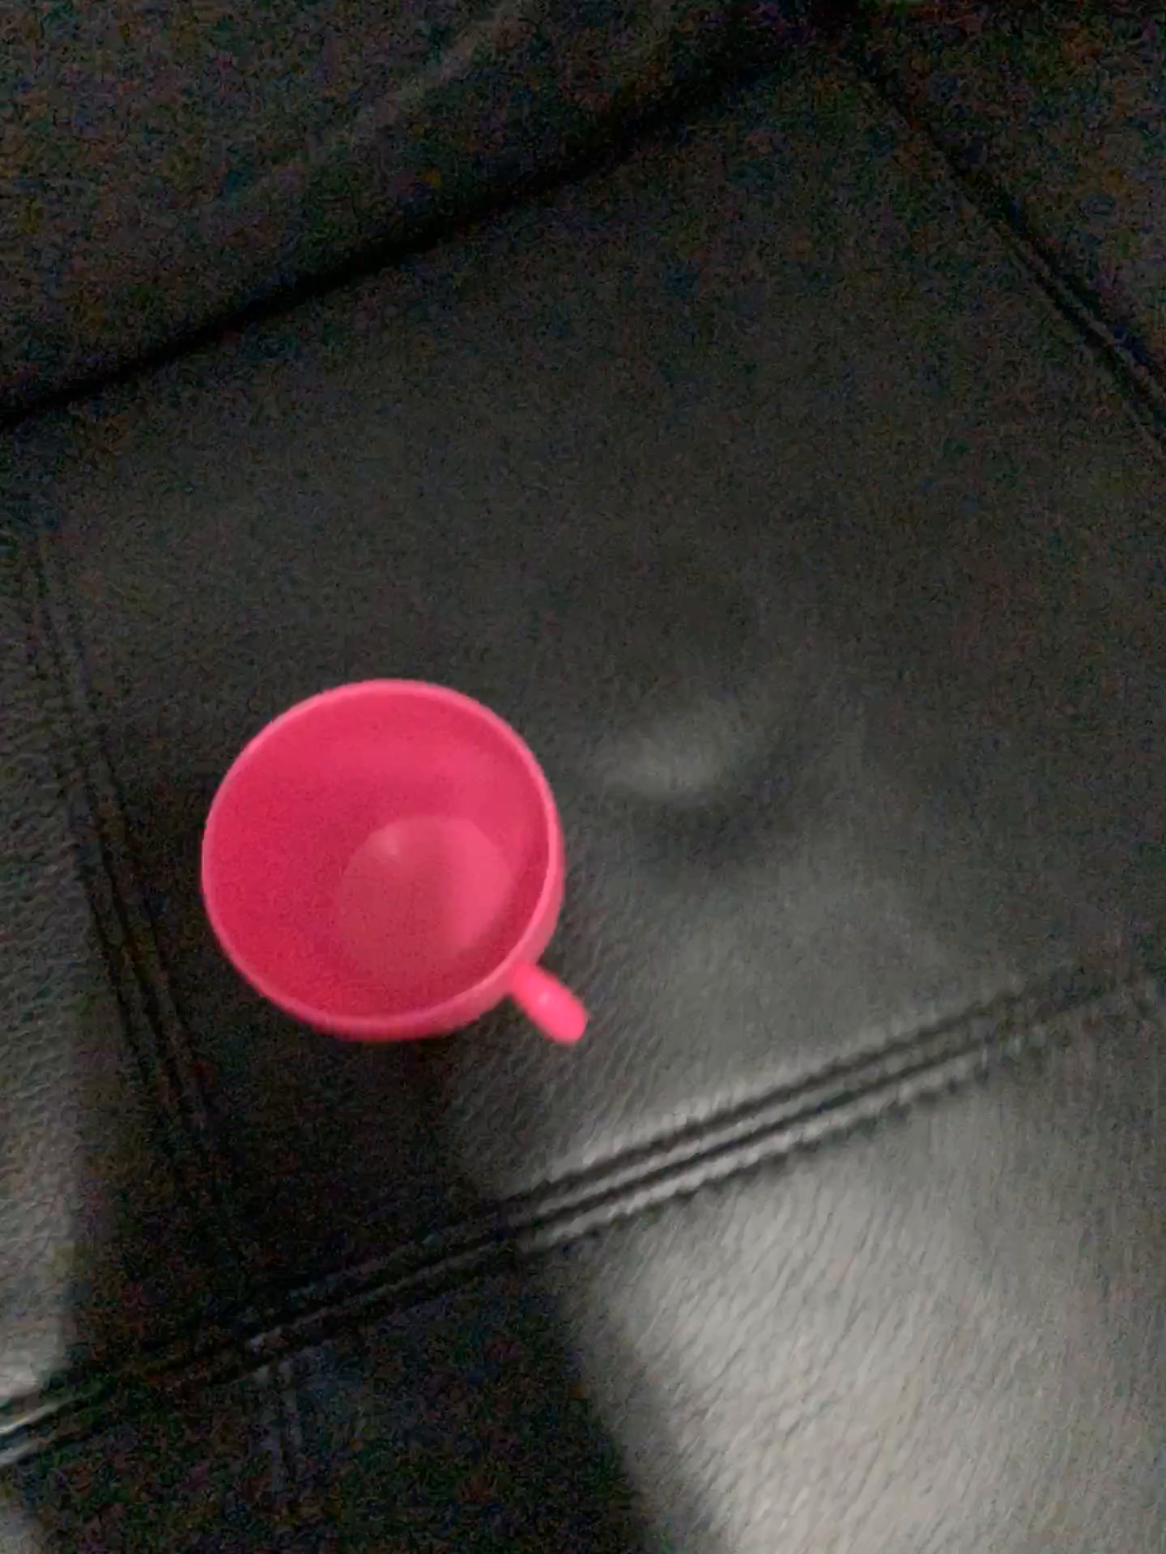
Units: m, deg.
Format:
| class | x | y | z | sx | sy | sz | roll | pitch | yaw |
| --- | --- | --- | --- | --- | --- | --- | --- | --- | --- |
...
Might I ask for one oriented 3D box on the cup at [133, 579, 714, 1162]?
| class | x | y | z | sx | sy | sz | roll | pitch | yaw |
| --- | --- | --- | --- | --- | --- | --- | --- | --- | --- |
| cup | -0.025 | 0.018 | 0.218 | 0.061 | 0.047 | 0.073 | -43 | 73 | -12 |
